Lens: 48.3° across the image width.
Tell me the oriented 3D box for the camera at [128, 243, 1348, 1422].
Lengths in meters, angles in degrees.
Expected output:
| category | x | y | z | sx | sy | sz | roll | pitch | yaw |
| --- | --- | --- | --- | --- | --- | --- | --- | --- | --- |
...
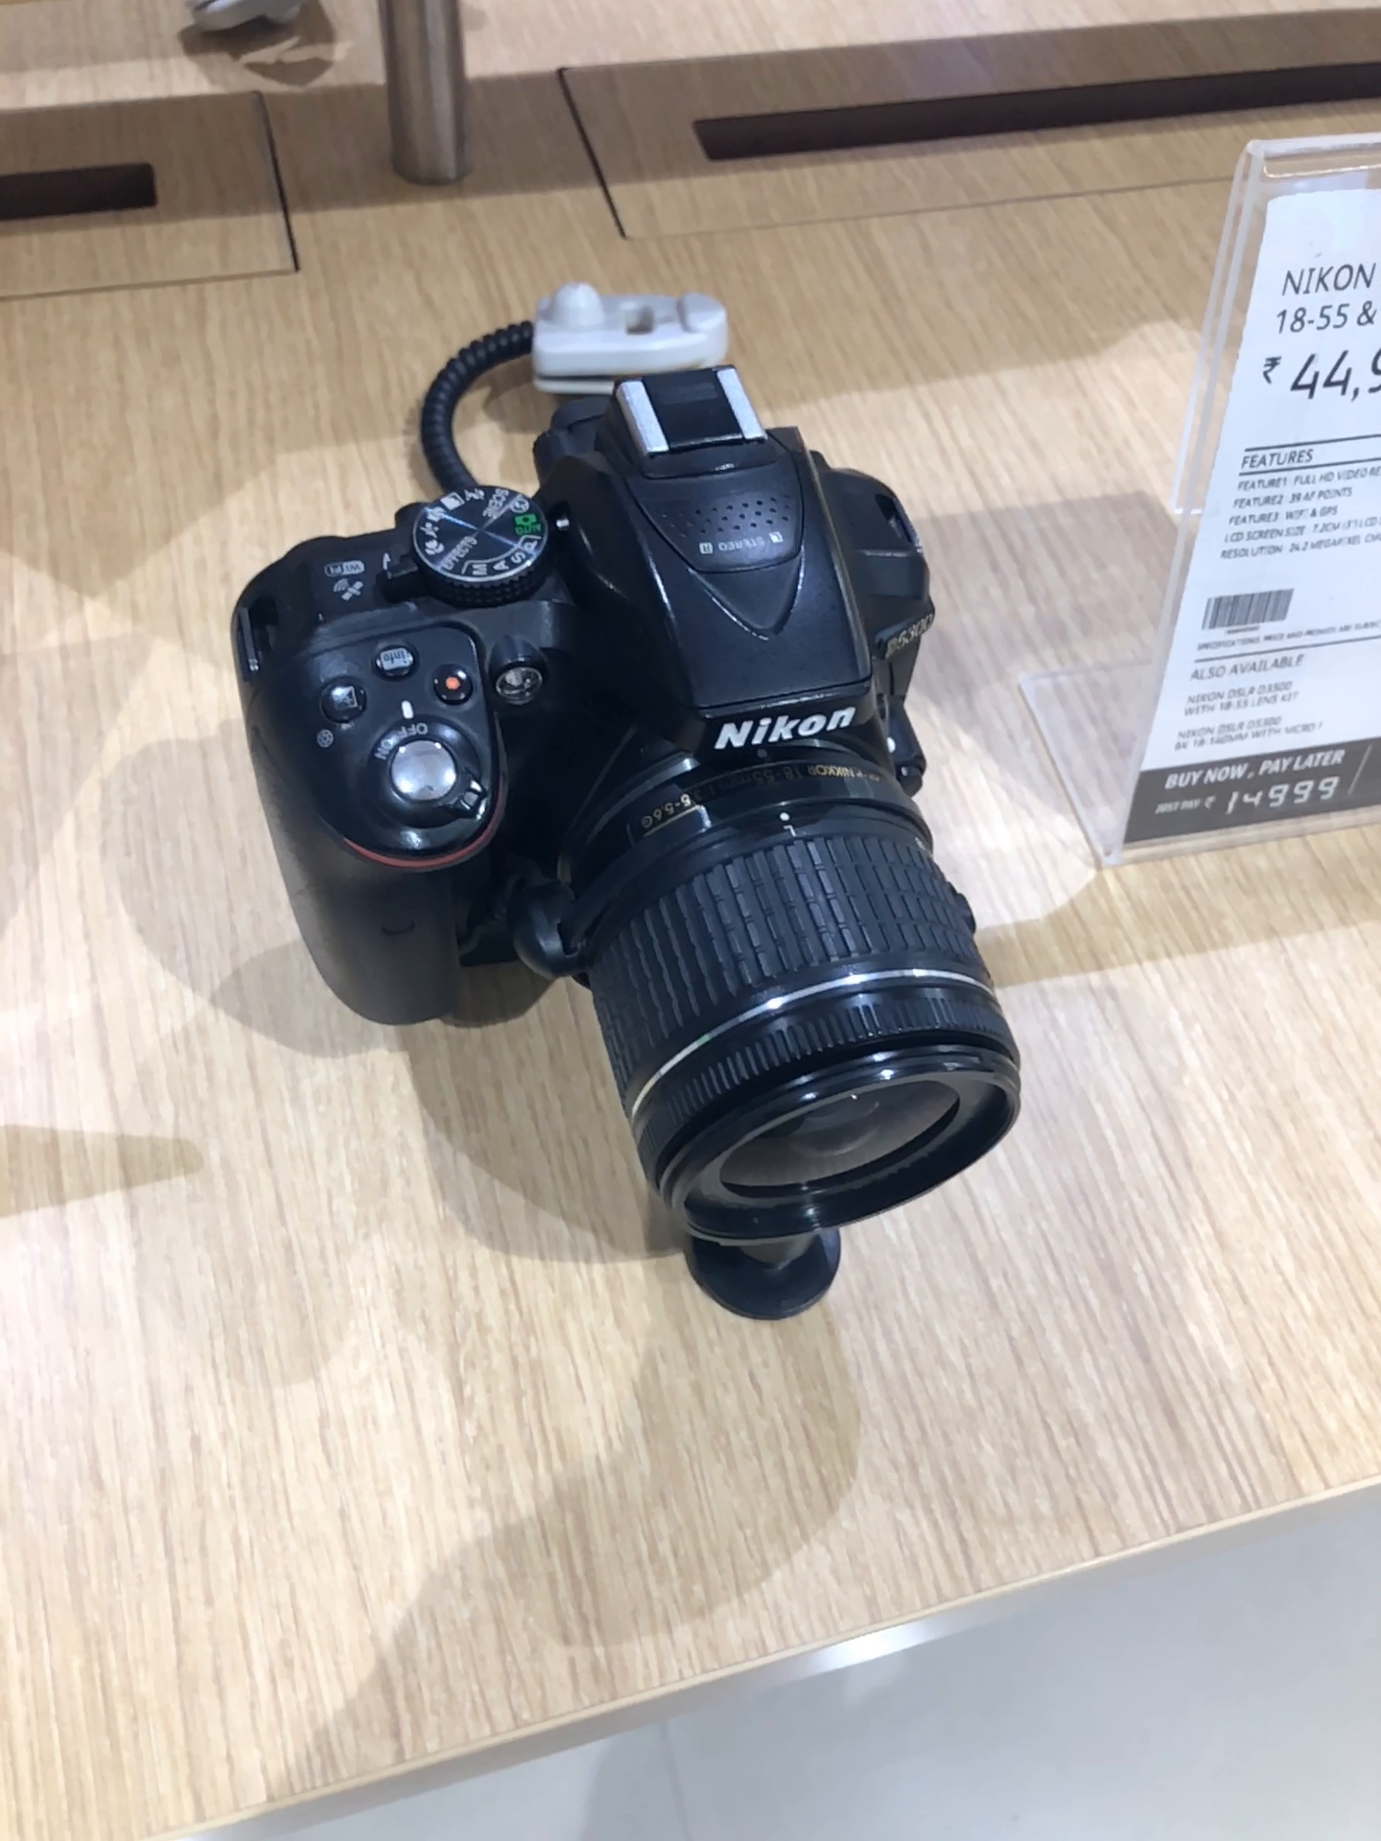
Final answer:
| category | x | y | z | sx | sy | sz | roll | pitch | yaw |
| --- | --- | --- | --- | --- | --- | --- | --- | --- | --- |
| camera | -0.006 | -0.022 | 0.239 | 0.130 | 0.070 | 0.151 | -11 | 59 | -12 |
